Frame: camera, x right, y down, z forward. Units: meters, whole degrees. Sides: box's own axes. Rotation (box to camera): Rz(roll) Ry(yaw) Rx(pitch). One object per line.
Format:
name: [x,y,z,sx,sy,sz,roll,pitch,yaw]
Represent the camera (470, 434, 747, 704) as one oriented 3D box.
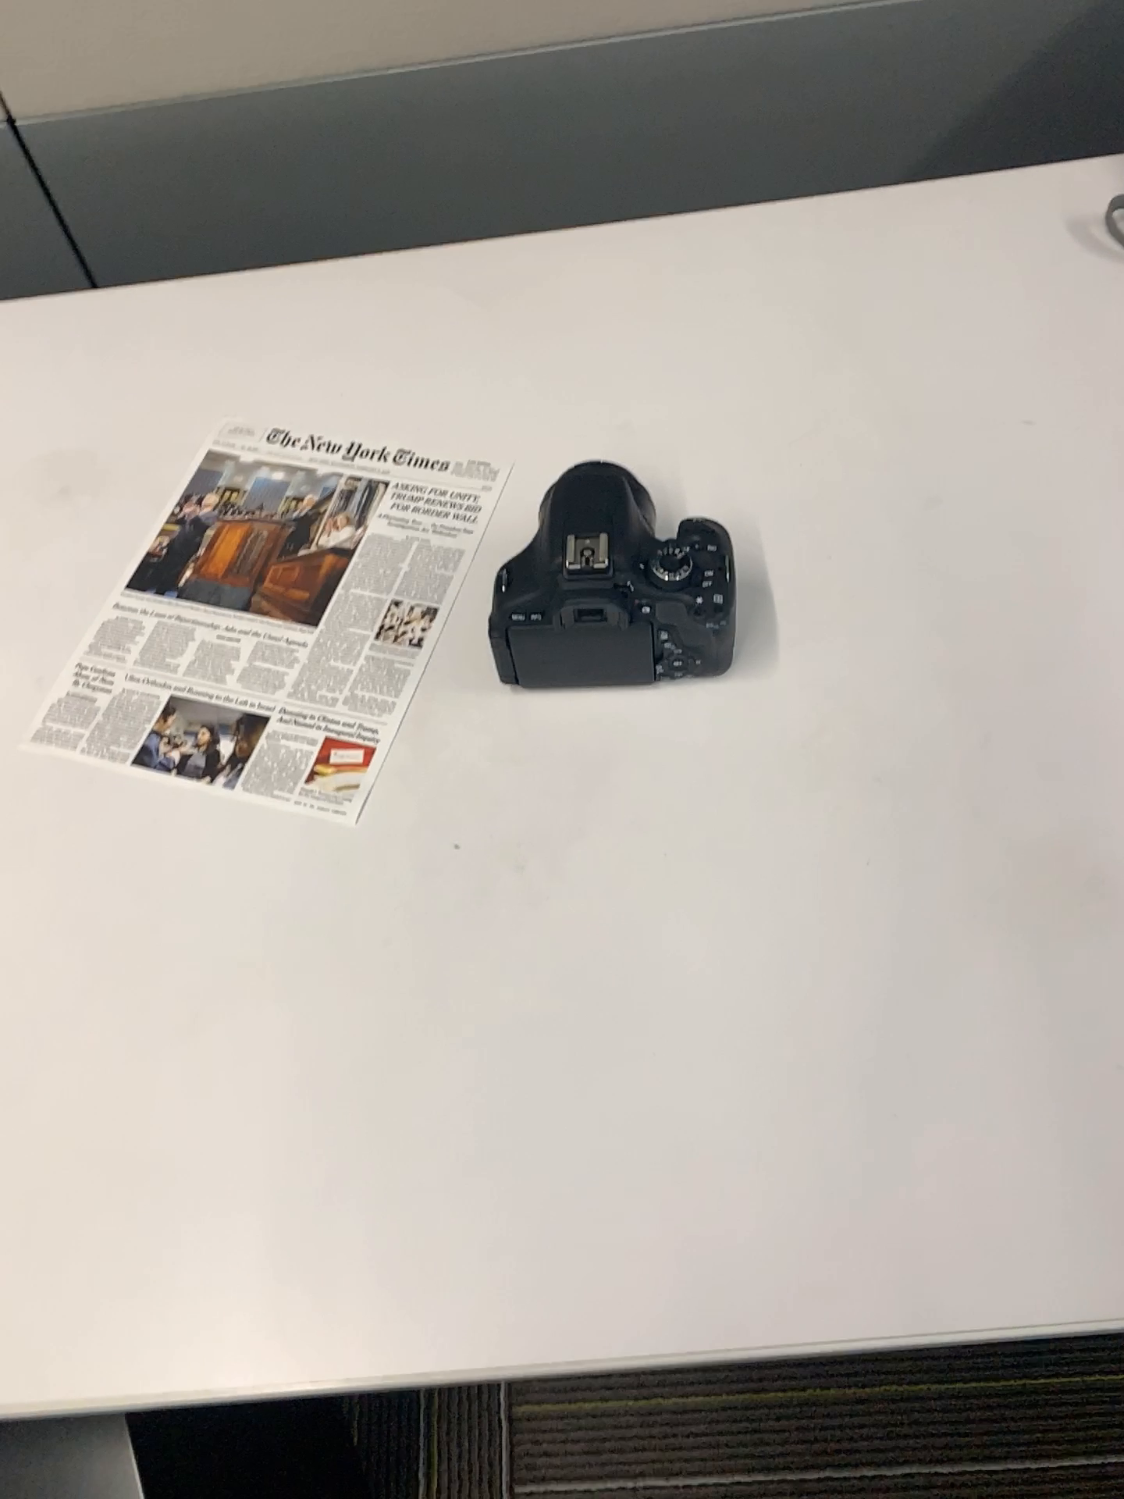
camera: [0.028,-0.098,0.635,0.137,0.090,0.110,-2,58,6]
